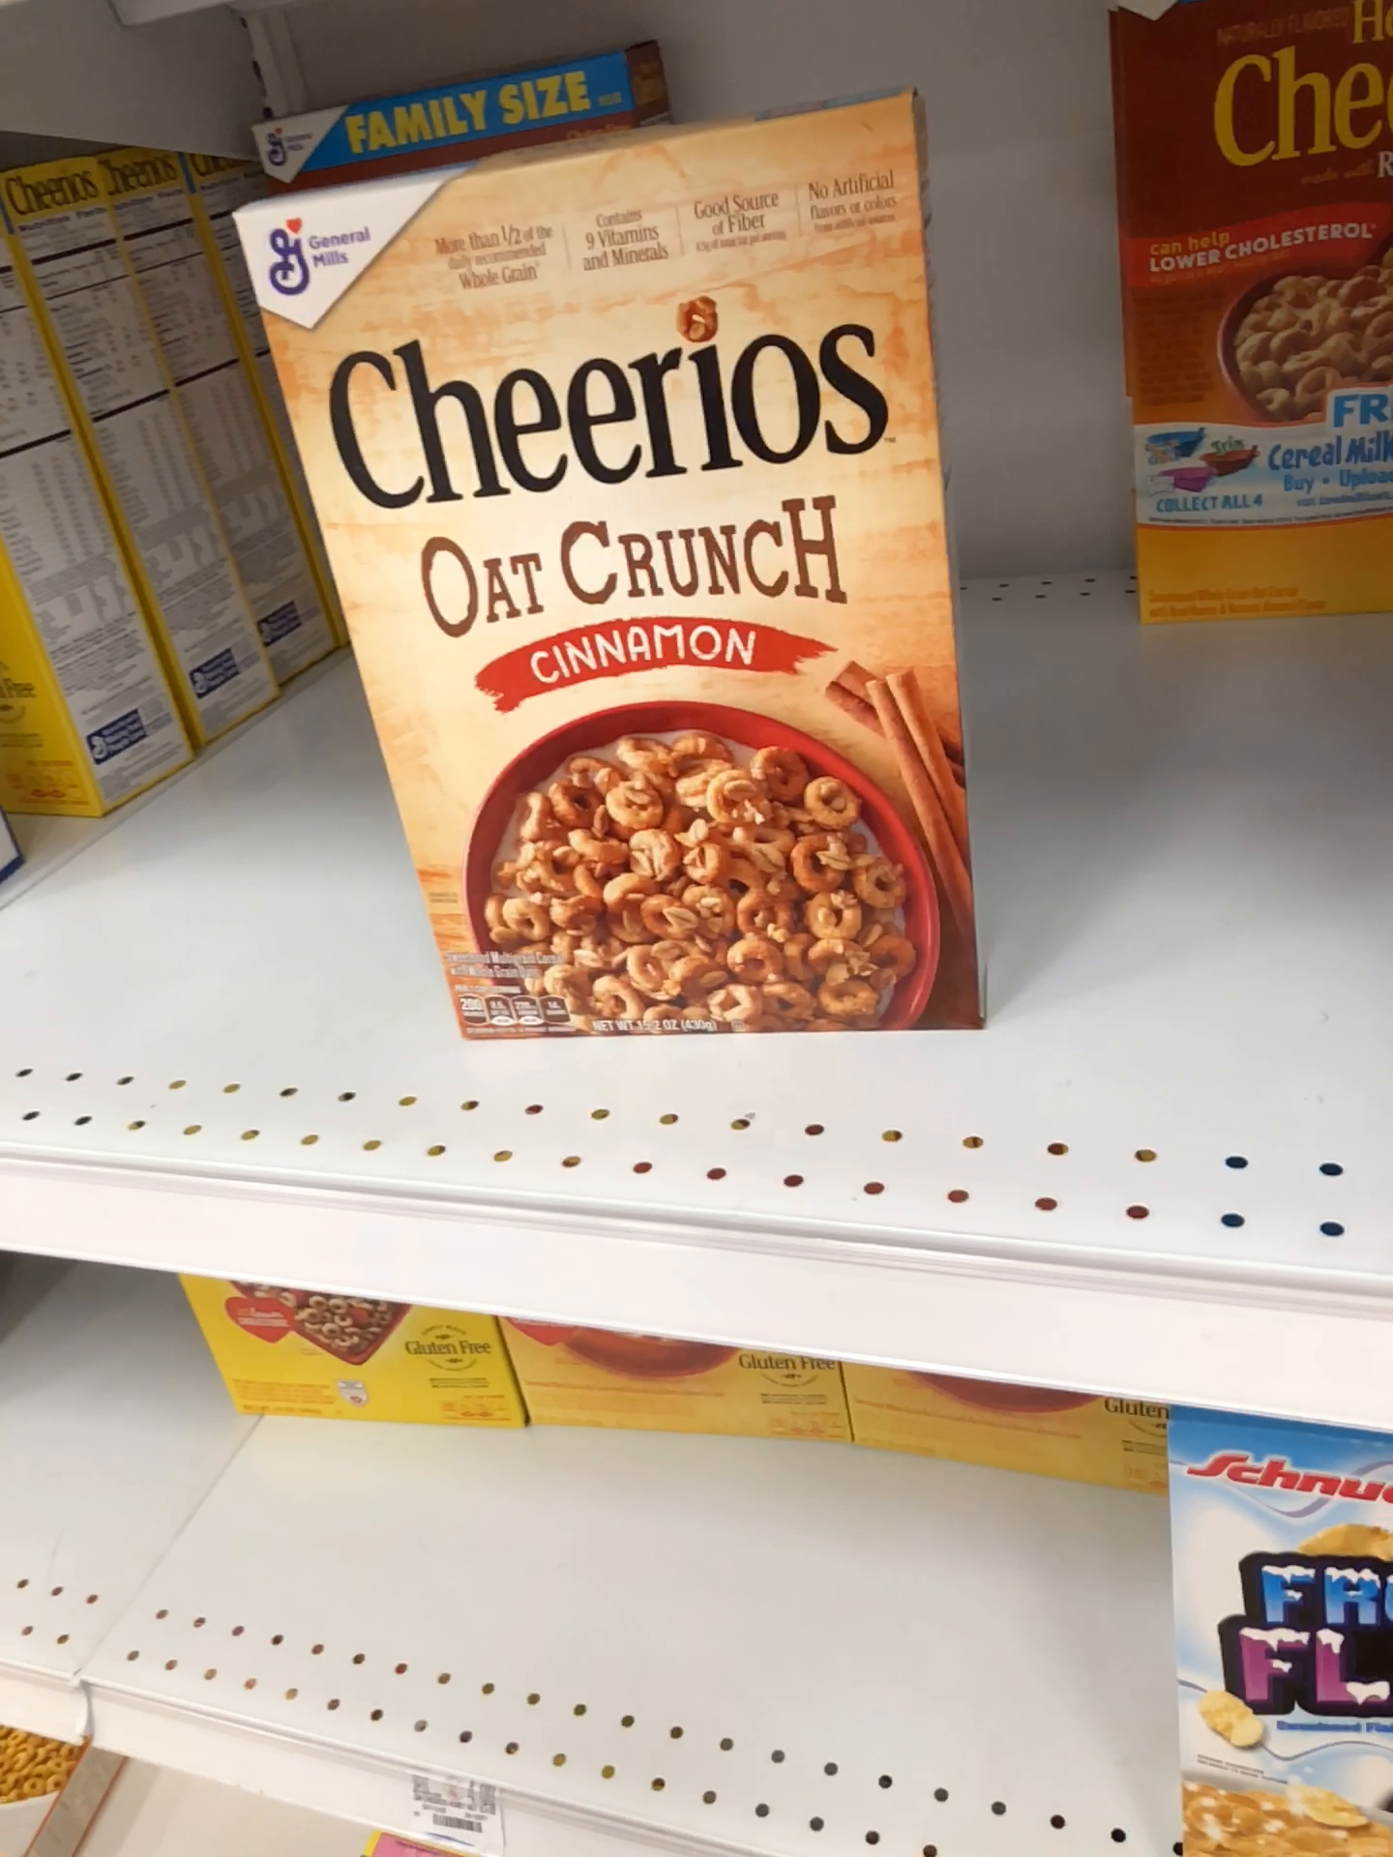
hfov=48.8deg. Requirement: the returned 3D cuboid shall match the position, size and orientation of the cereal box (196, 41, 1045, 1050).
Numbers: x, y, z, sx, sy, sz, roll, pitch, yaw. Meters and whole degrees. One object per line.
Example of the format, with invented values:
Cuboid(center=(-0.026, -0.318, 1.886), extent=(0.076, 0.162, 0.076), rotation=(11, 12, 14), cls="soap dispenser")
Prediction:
Cuboid(center=(-0.006, -0.091, 0.471), extent=(0.200, 0.279, 0.050), rotation=(-2, 32, 16), cls="cereal box")
